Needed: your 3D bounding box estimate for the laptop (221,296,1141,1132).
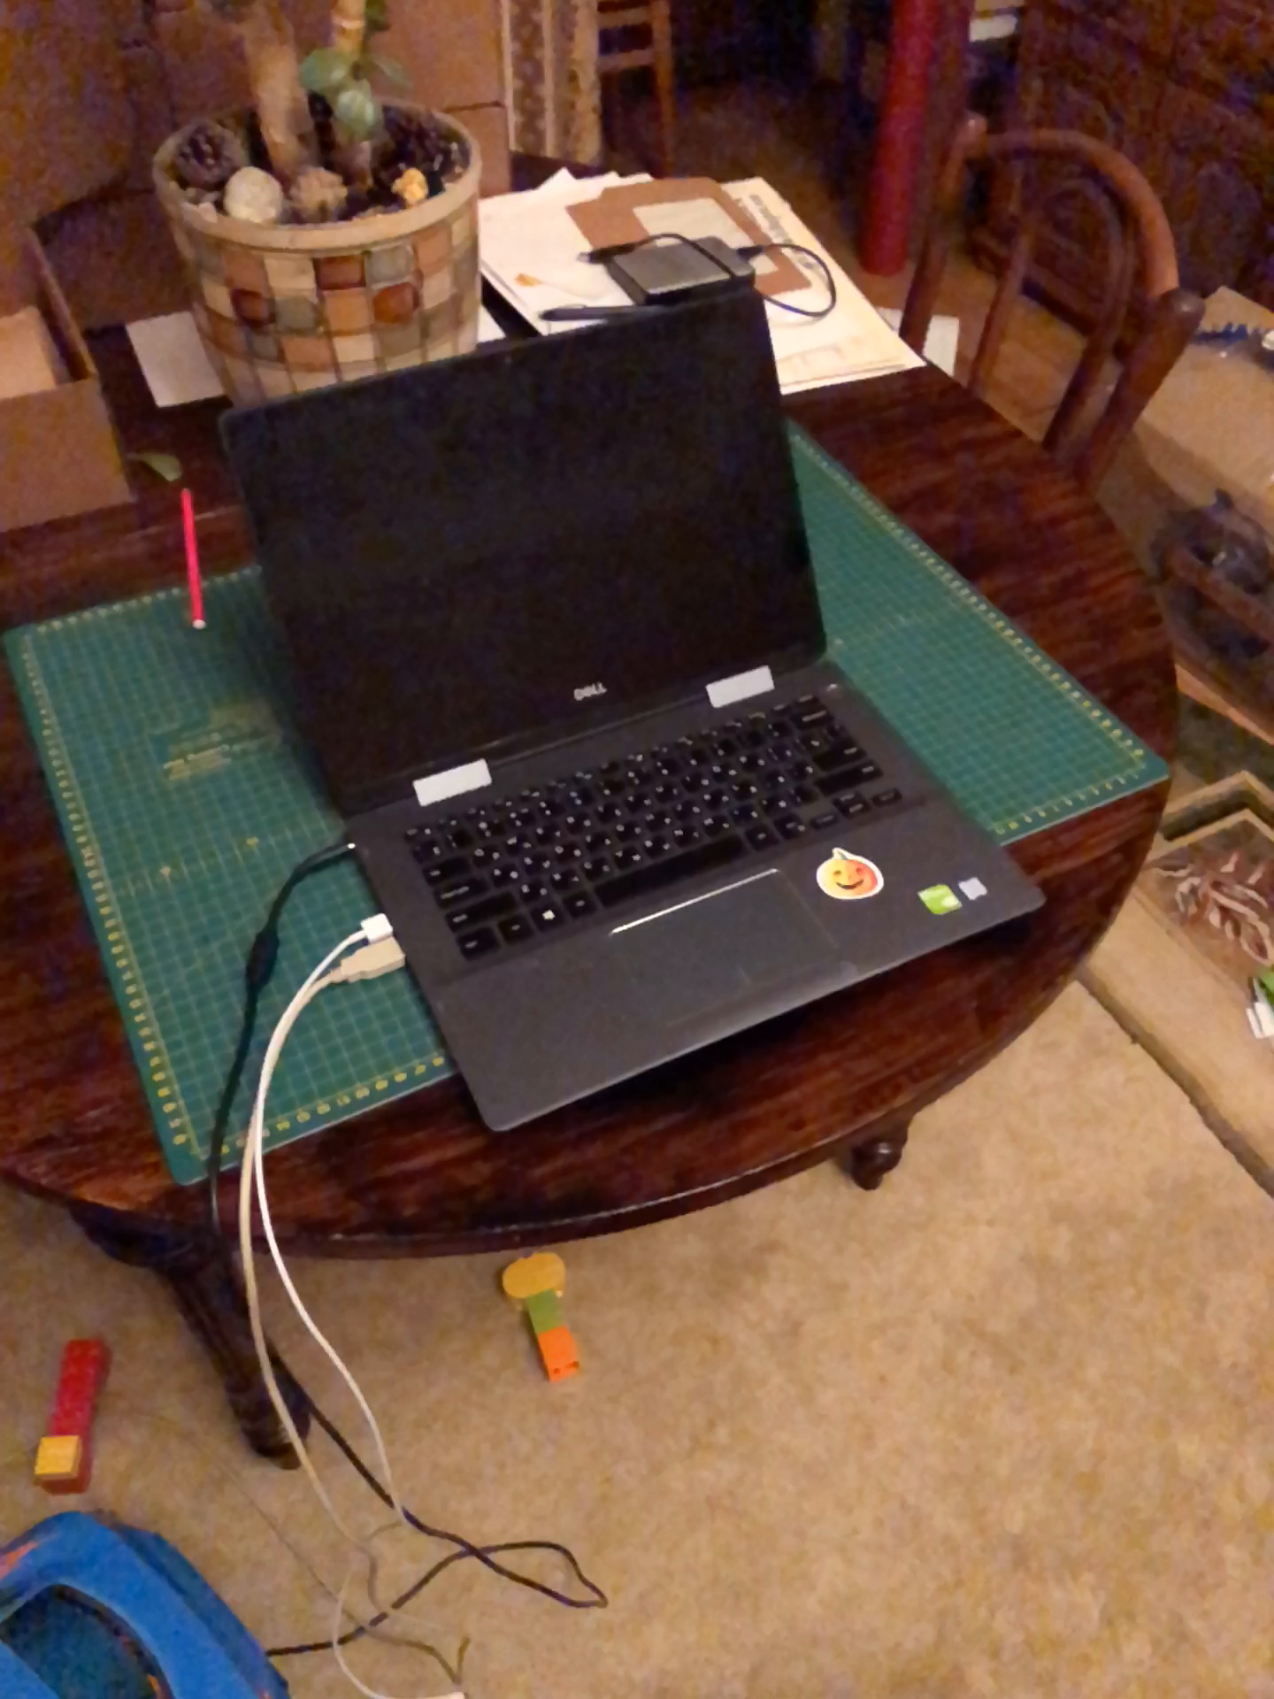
[{"bbox_3d":[0.003,-0.095,0.743,0.321,0.192,0.338,-20,51,-17],"label":"laptop"}]
